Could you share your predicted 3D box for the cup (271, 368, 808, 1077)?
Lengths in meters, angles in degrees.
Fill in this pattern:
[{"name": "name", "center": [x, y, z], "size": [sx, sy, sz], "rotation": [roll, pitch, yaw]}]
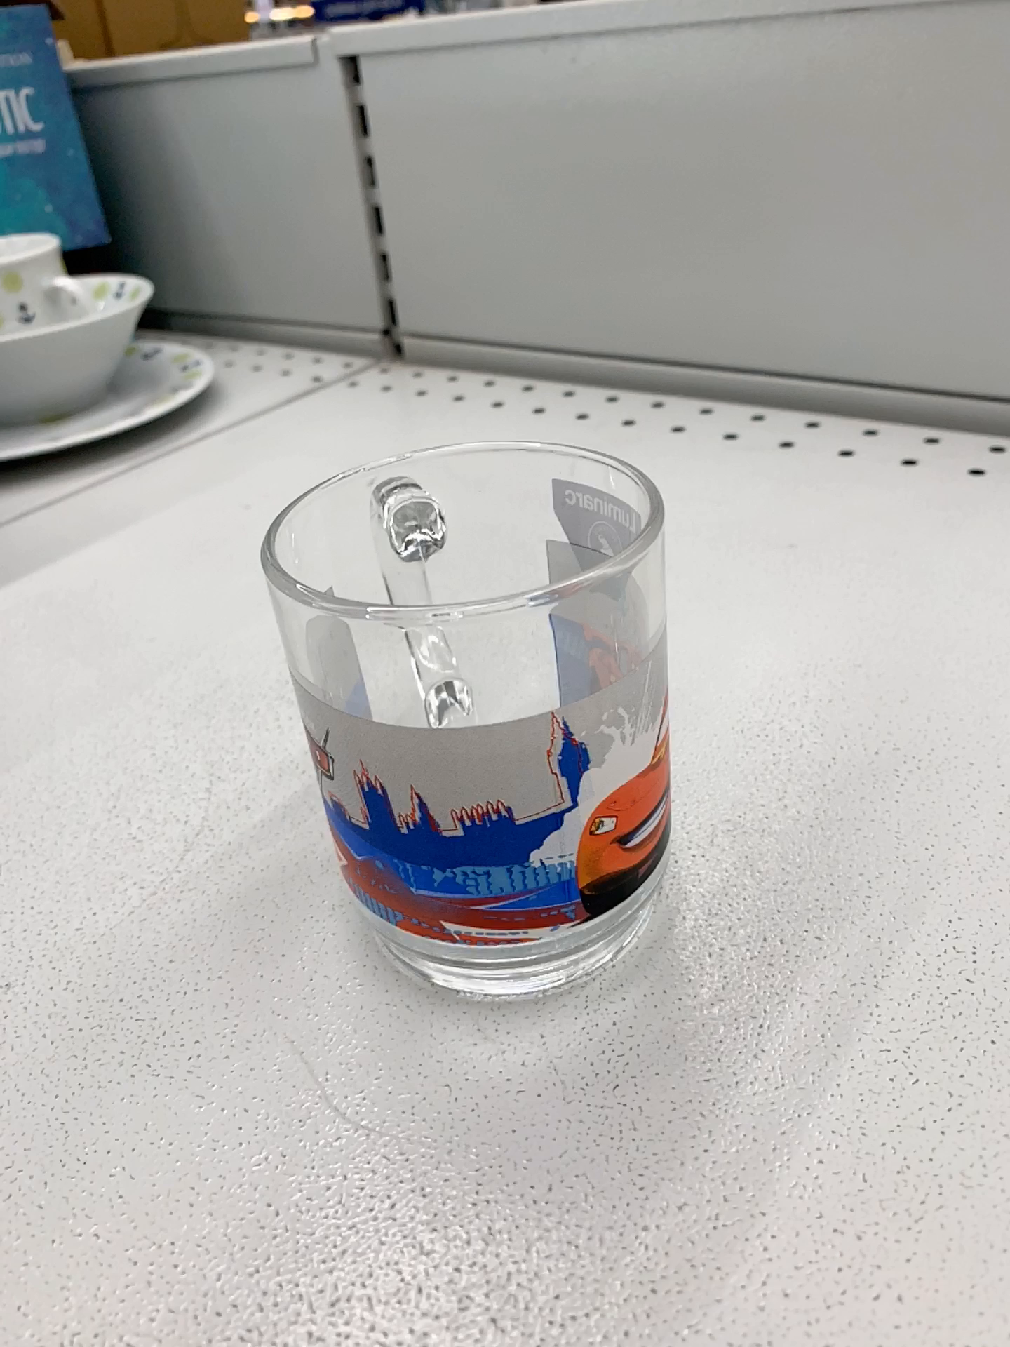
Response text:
[{"name": "cup", "center": [0.000, 0.001, 0.202], "size": [0.072, 0.081, 0.102], "rotation": [-11, 32, -6]}]
